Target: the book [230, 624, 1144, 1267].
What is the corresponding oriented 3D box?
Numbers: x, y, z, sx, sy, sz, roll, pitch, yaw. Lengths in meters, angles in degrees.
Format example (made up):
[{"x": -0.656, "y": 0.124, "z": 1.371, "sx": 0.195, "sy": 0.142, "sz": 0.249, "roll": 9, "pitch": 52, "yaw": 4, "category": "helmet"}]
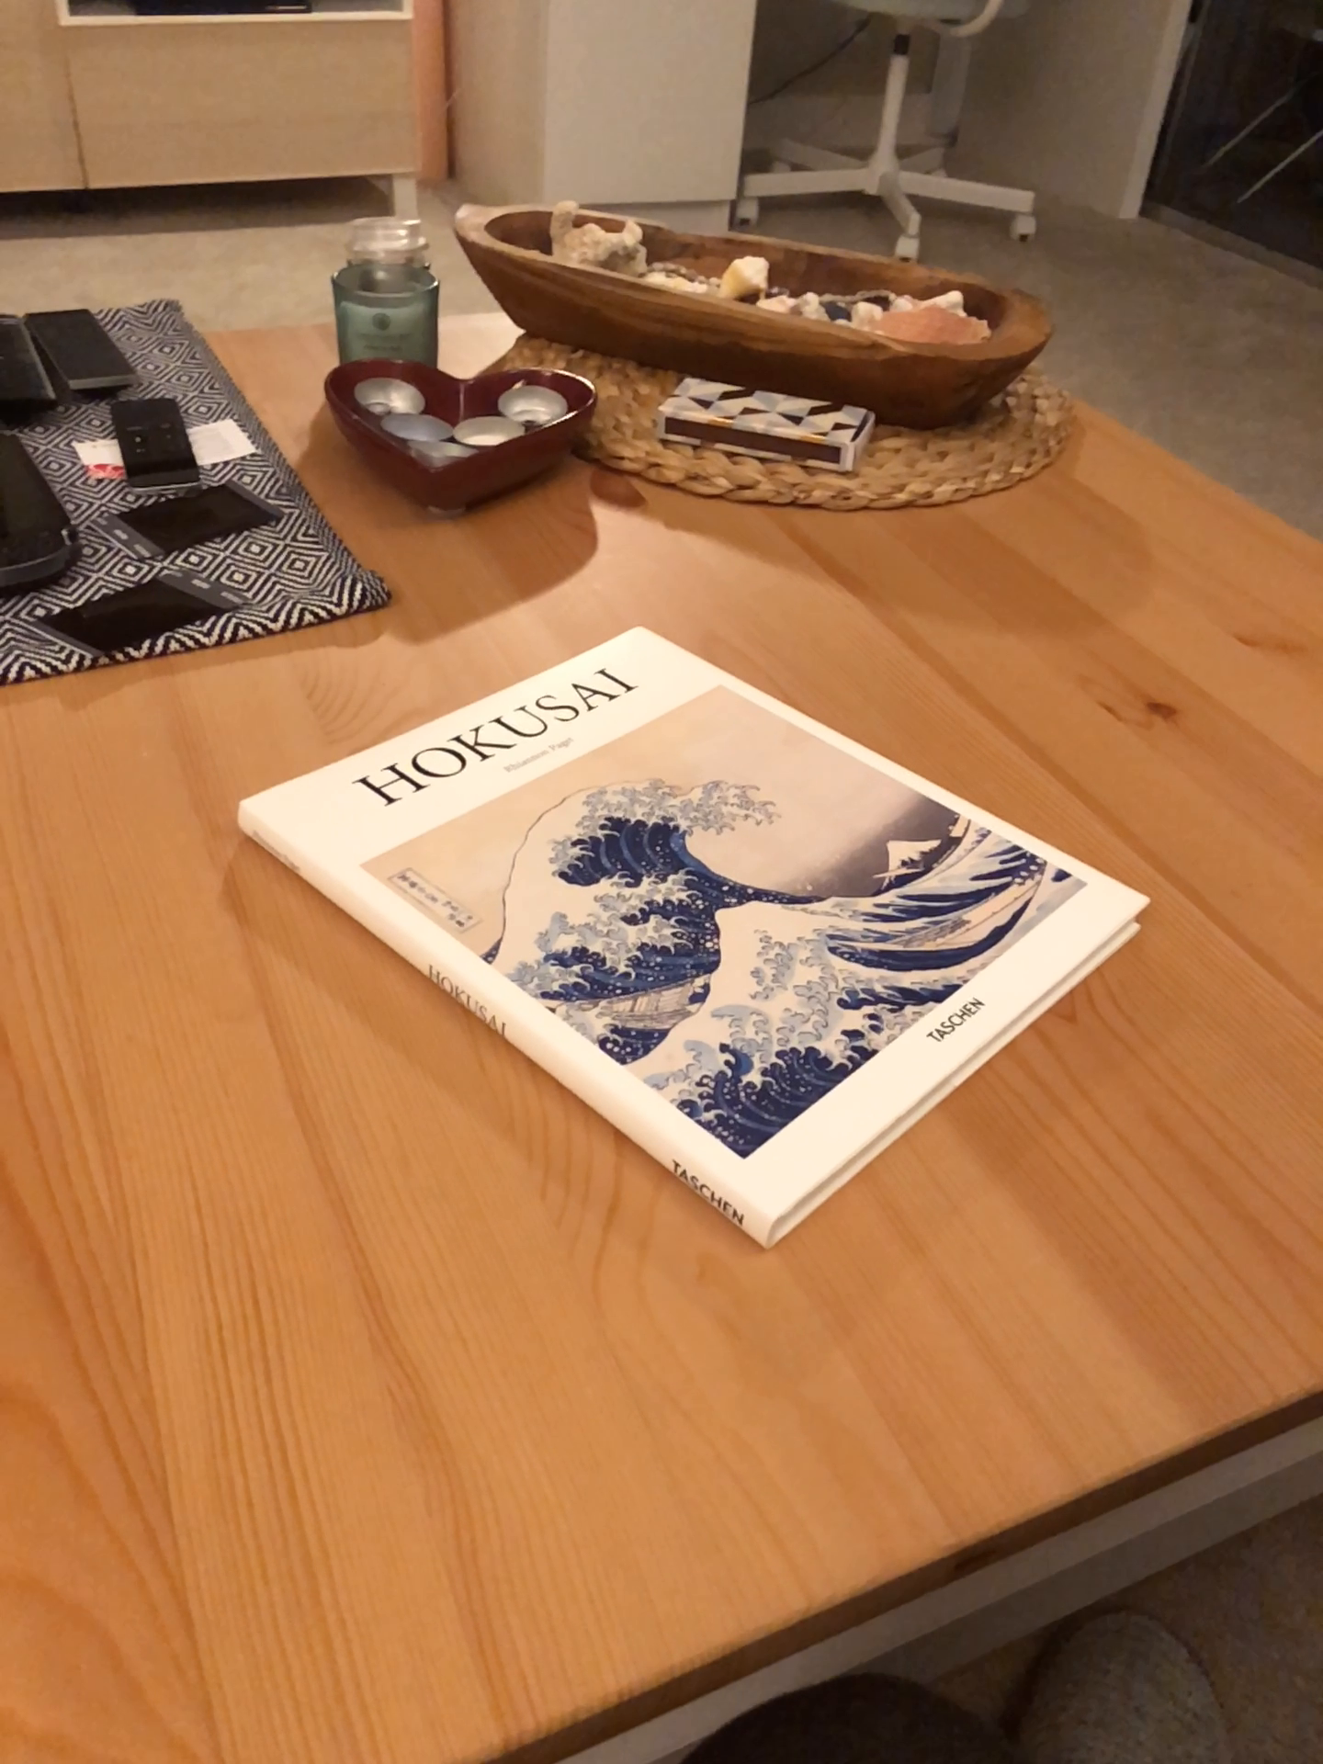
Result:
[{"x": 0.008, "y": -0.004, "z": 0.525, "sx": 0.252, "sy": 0.020, "sz": 0.211, "roll": 33, "pitch": 46, "yaw": 31, "category": "book"}]
